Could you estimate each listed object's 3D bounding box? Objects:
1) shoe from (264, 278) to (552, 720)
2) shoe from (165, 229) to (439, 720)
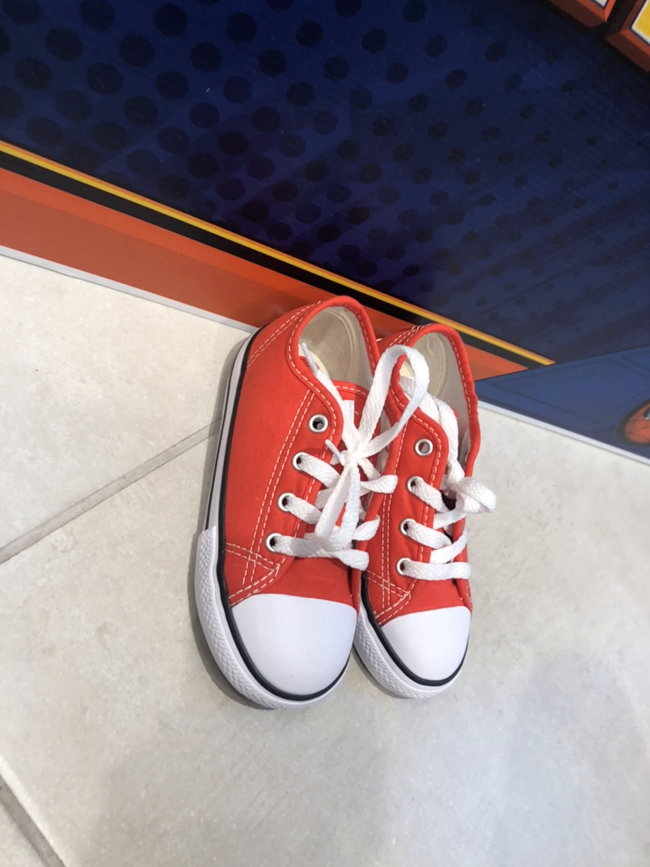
[{"bbox_3d":[0.035,0.031,0.355,0.080,0.070,0.190,5,67,-38],"label":"shoe"},{"bbox_3d":[-0.013,0.021,0.316,0.080,0.070,0.190,15,61,-34],"label":"shoe"}]
